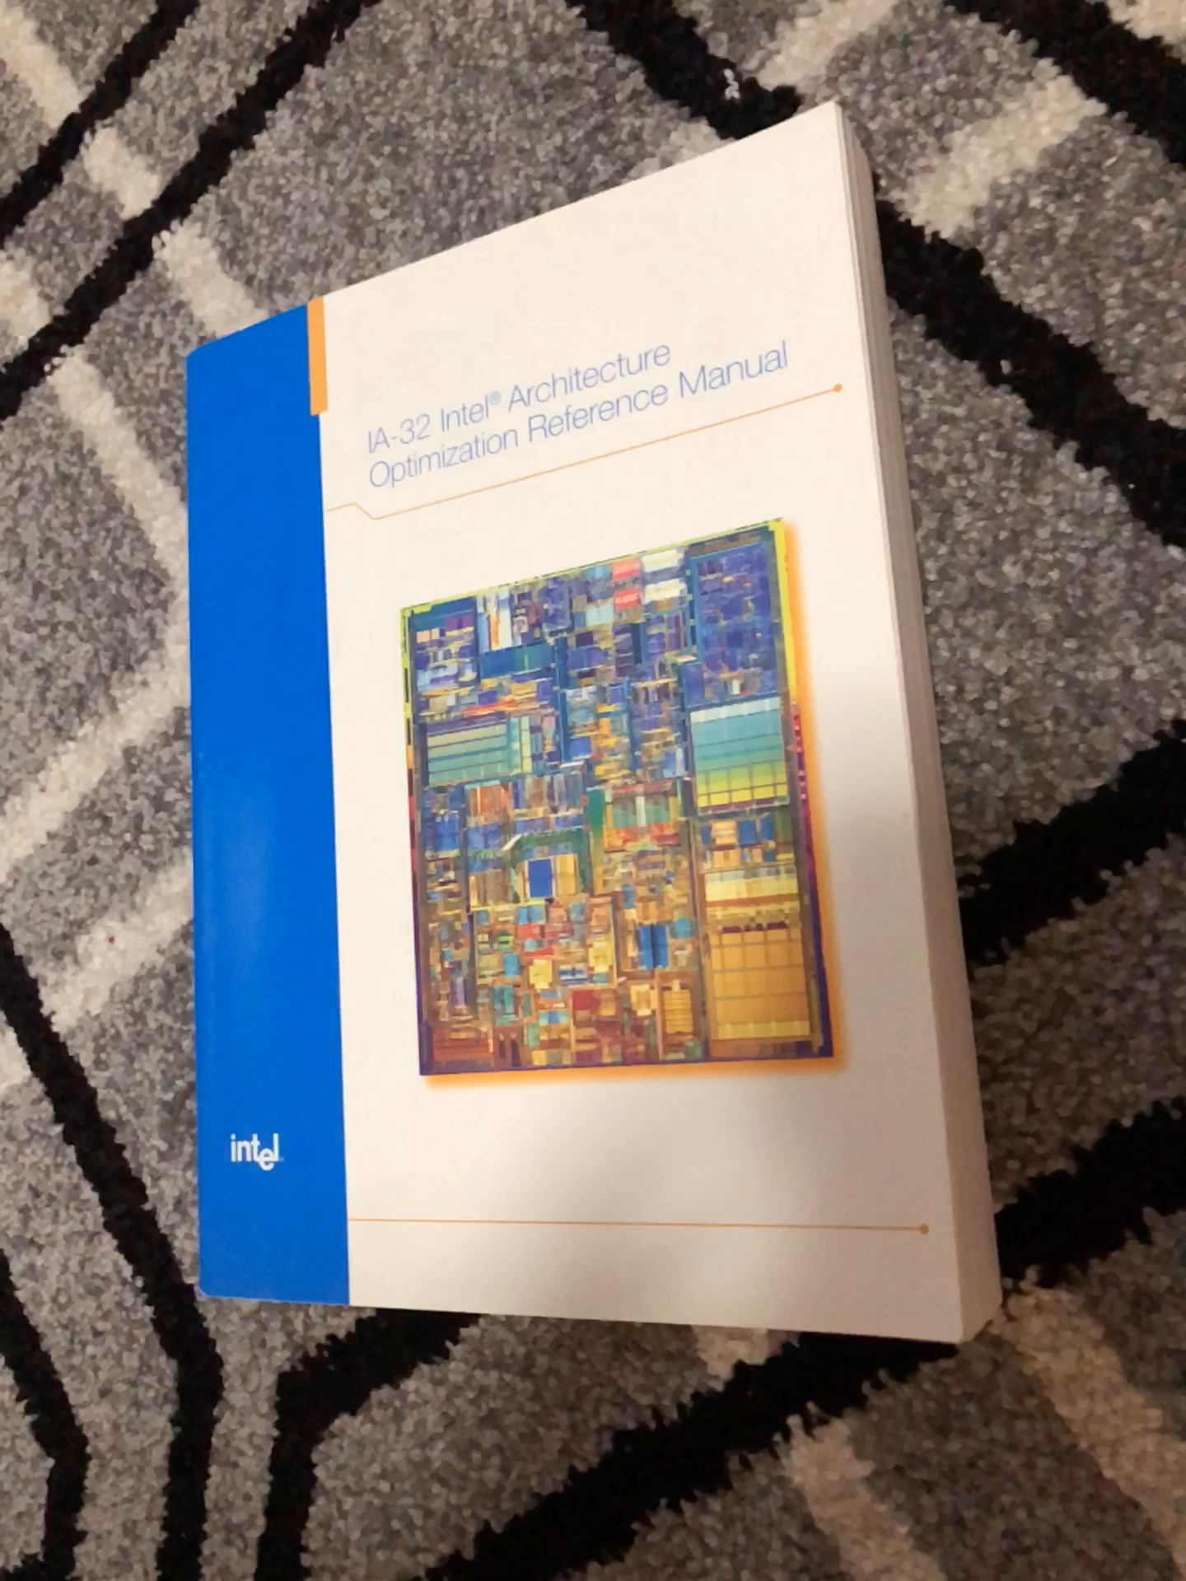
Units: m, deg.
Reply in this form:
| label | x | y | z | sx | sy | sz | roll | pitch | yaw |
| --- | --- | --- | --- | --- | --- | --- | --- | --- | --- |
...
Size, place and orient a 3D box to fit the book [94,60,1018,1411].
| label | x | y | z | sx | sy | sz | roll | pitch | yaw |
| --- | --- | --- | --- | --- | --- | --- | --- | --- | --- |
| book | -0.021 | -0.004 | 0.255 | 0.171 | 0.040 | 0.210 | -9 | 79 | 27 |
